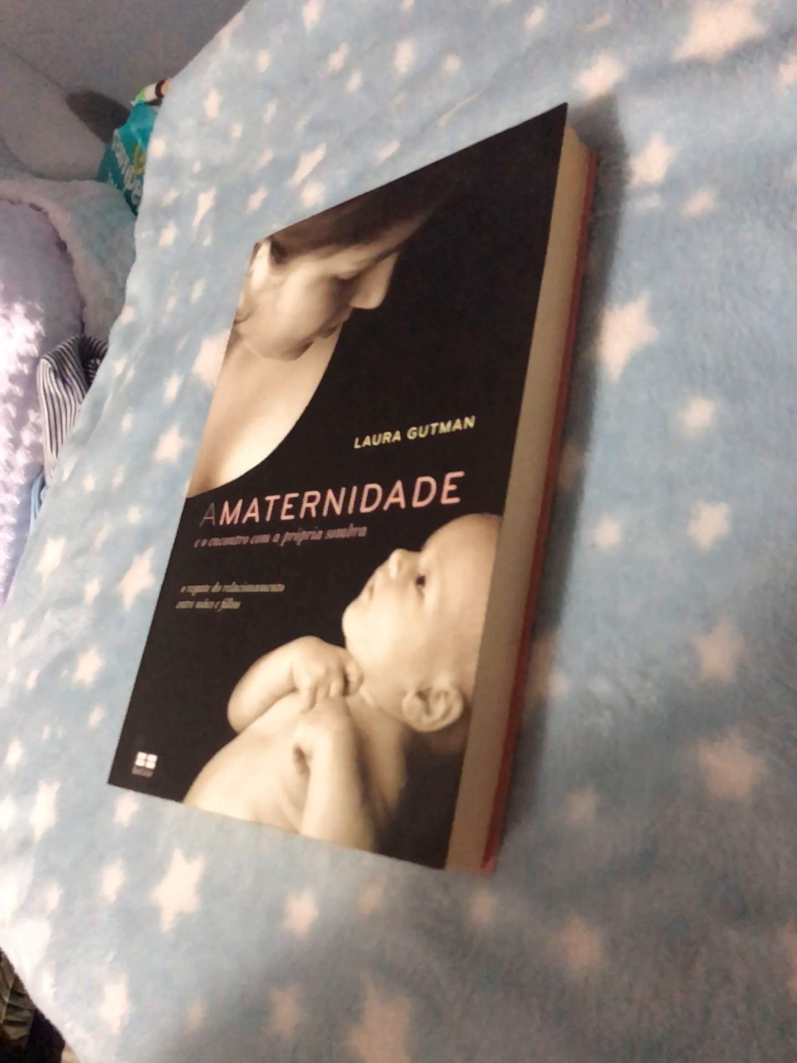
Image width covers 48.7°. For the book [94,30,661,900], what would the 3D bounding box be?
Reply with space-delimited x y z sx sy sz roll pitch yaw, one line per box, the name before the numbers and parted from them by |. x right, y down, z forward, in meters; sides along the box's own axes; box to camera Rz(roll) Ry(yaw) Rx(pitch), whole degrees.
book | -0.010 -0.026 0.289 0.161 0.030 0.240 -4 67 43
